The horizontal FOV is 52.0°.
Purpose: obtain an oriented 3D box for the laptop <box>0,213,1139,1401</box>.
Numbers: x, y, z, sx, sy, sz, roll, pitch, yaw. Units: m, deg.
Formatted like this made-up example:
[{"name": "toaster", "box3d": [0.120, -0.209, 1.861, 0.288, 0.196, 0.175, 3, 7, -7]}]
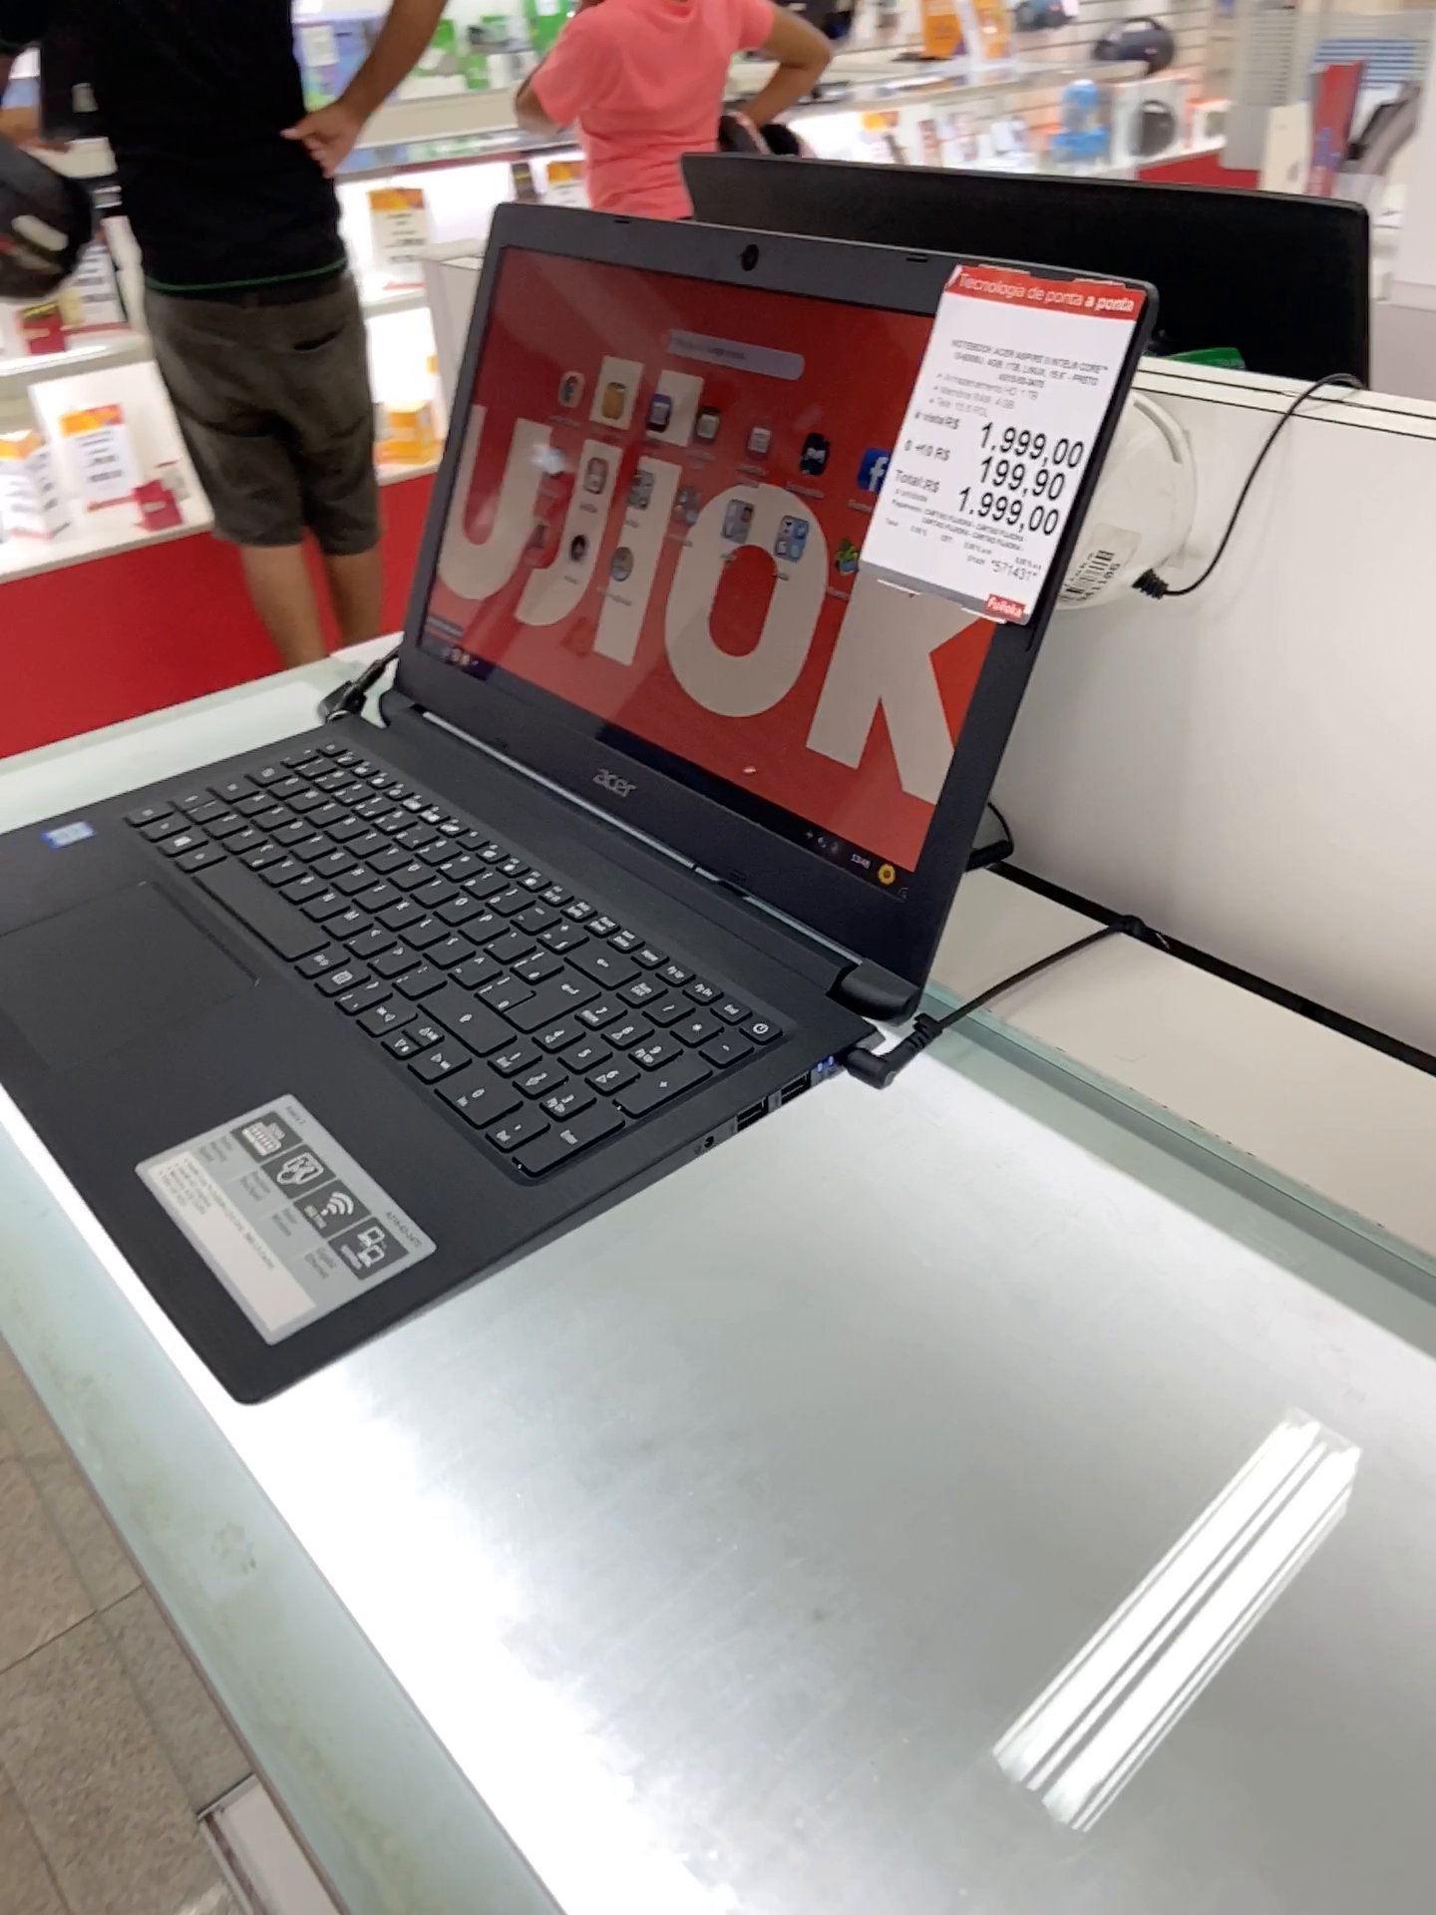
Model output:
[{"name": "laptop", "box3d": [-0.125, -0.123, 0.566, 0.371, 0.230, 0.393, -27, 40, -31]}]
